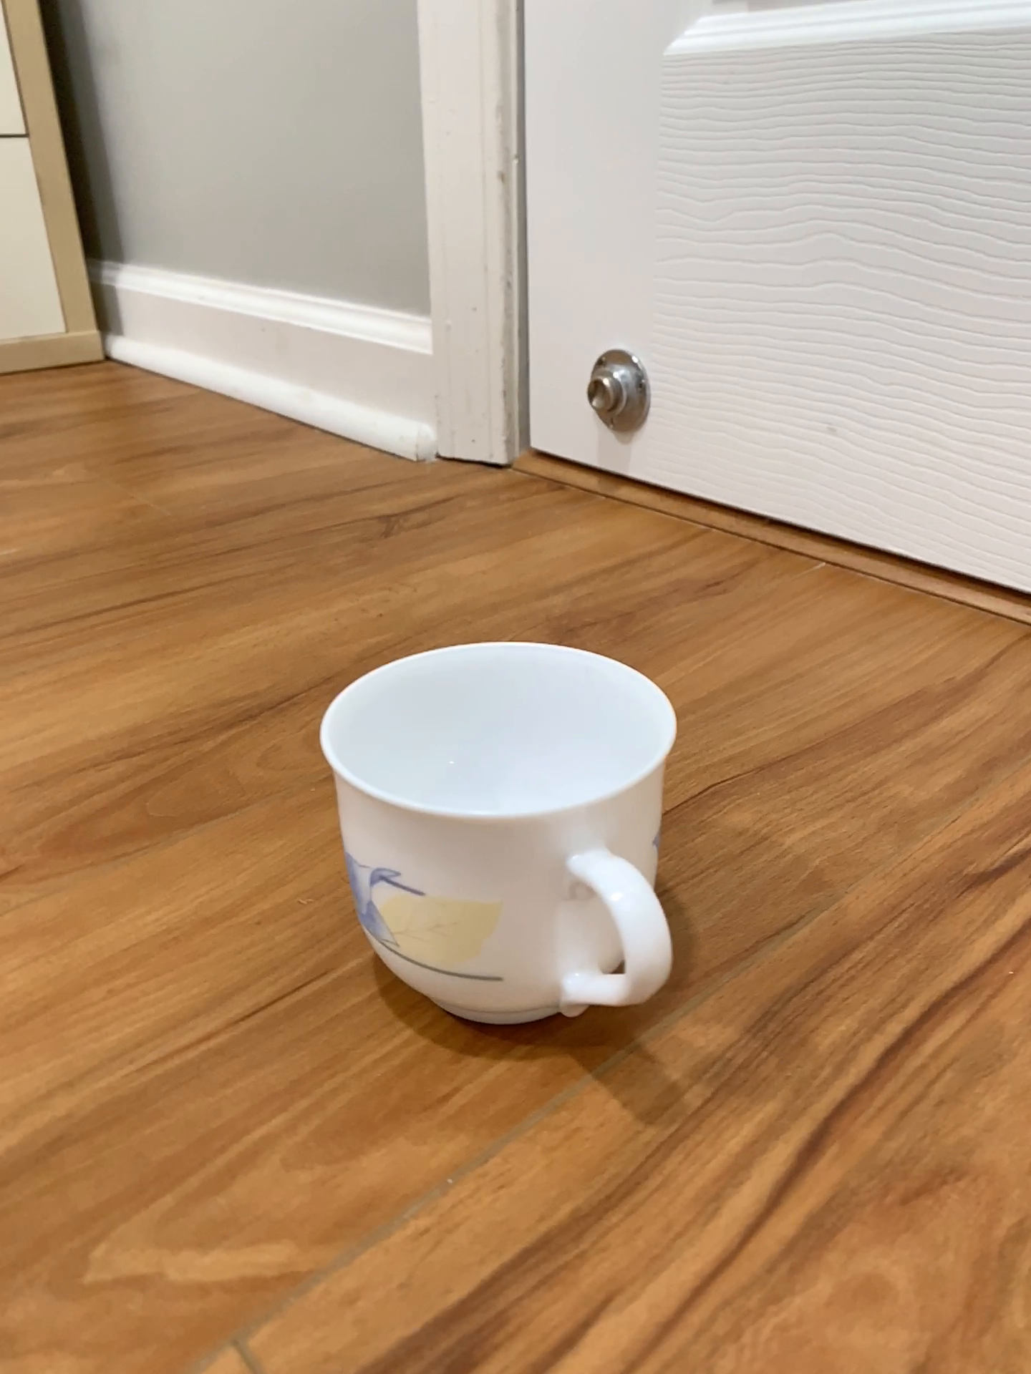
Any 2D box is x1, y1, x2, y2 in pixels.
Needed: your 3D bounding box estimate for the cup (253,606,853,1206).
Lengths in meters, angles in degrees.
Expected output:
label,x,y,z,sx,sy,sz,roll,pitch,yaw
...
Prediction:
label,x,y,z,sx,sy,sz,roll,pitch,yaw
cup,0.004,0.037,0.242,0.084,0.063,0.104,-18,32,-30
